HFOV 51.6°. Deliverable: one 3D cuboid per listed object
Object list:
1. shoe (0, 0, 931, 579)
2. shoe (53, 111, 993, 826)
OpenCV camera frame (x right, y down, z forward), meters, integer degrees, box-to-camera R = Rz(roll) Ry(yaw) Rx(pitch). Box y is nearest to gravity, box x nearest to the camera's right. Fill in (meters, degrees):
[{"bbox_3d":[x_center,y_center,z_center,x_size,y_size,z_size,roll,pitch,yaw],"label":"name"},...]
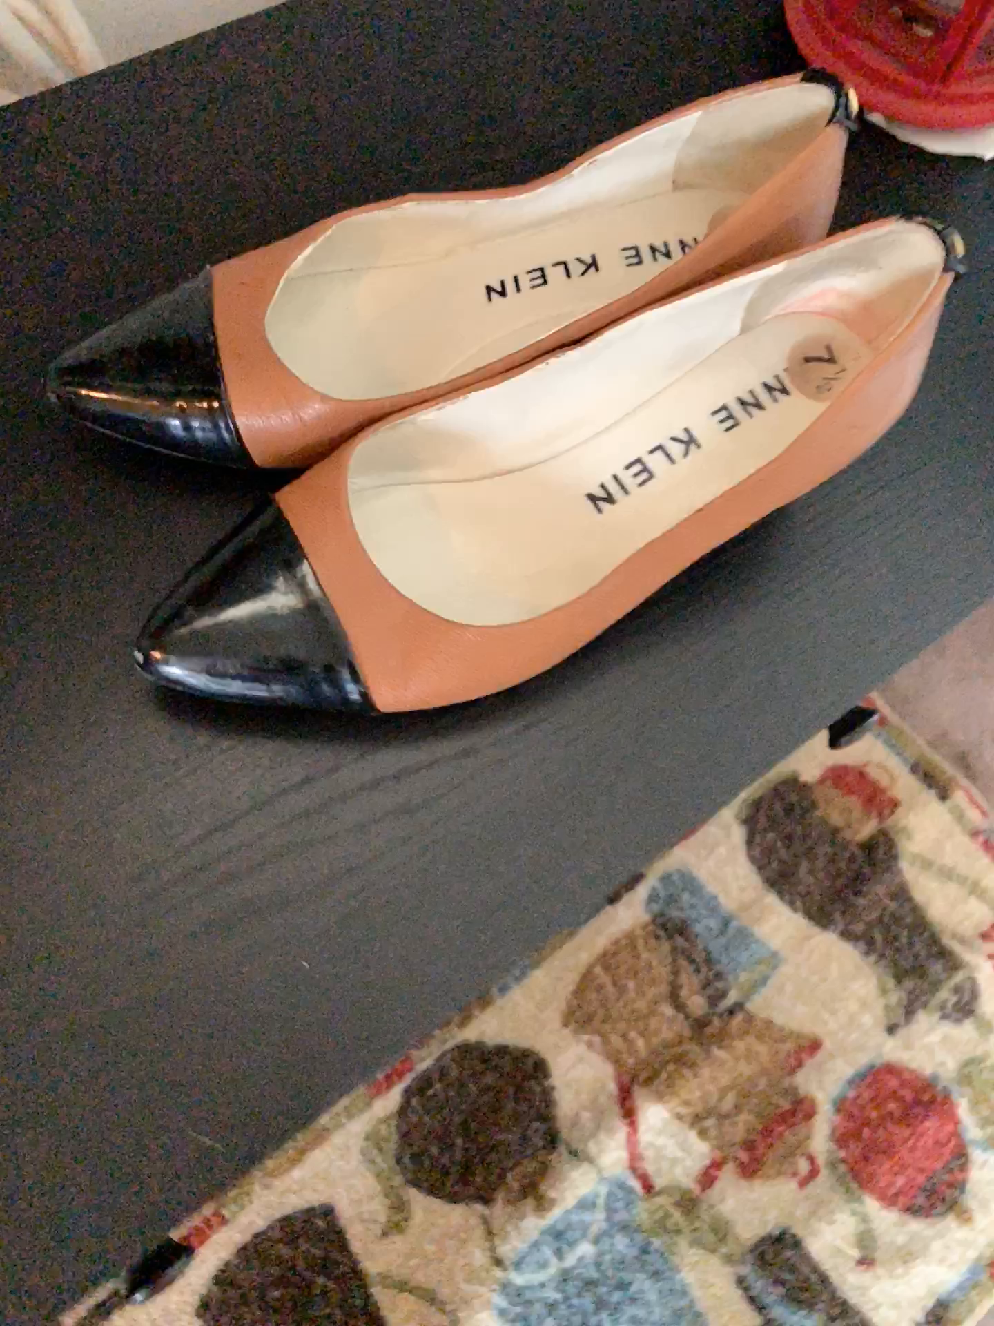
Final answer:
[{"bbox_3d":[-0.011,-0.117,0.335,0.260,0.080,0.080,-18,72,0],"label":"shoe"},{"bbox_3d":[0.015,-0.052,0.316,0.260,0.080,0.090,-25,72,0],"label":"shoe"}]
